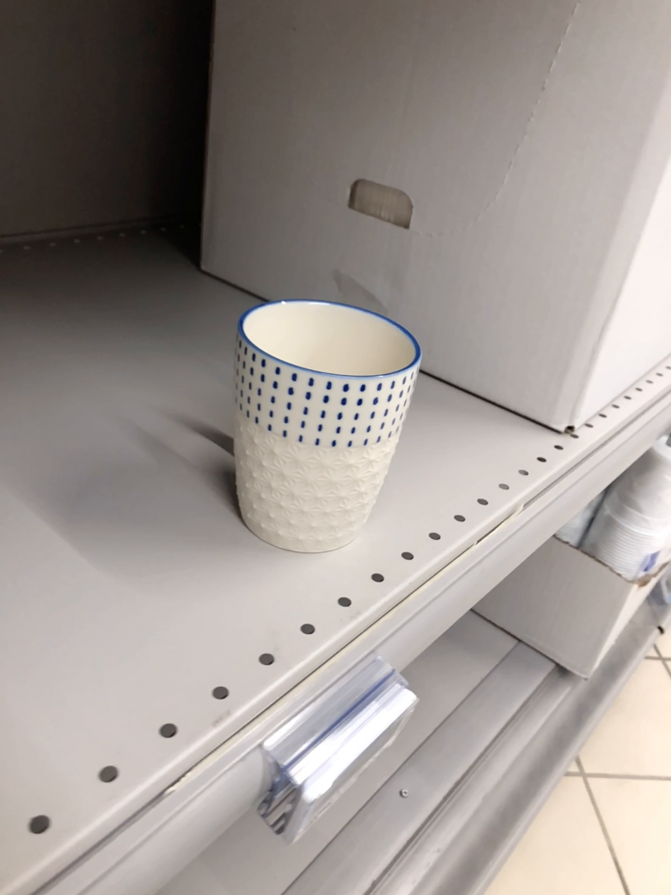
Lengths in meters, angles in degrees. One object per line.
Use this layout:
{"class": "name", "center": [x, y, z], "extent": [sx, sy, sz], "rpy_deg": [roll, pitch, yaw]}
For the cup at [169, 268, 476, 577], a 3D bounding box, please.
{"class": "cup", "center": [-0.016, -0.021, 0.366], "extent": [0.097, 0.096, 0.119], "rpy_deg": [-7, 35, -27]}
